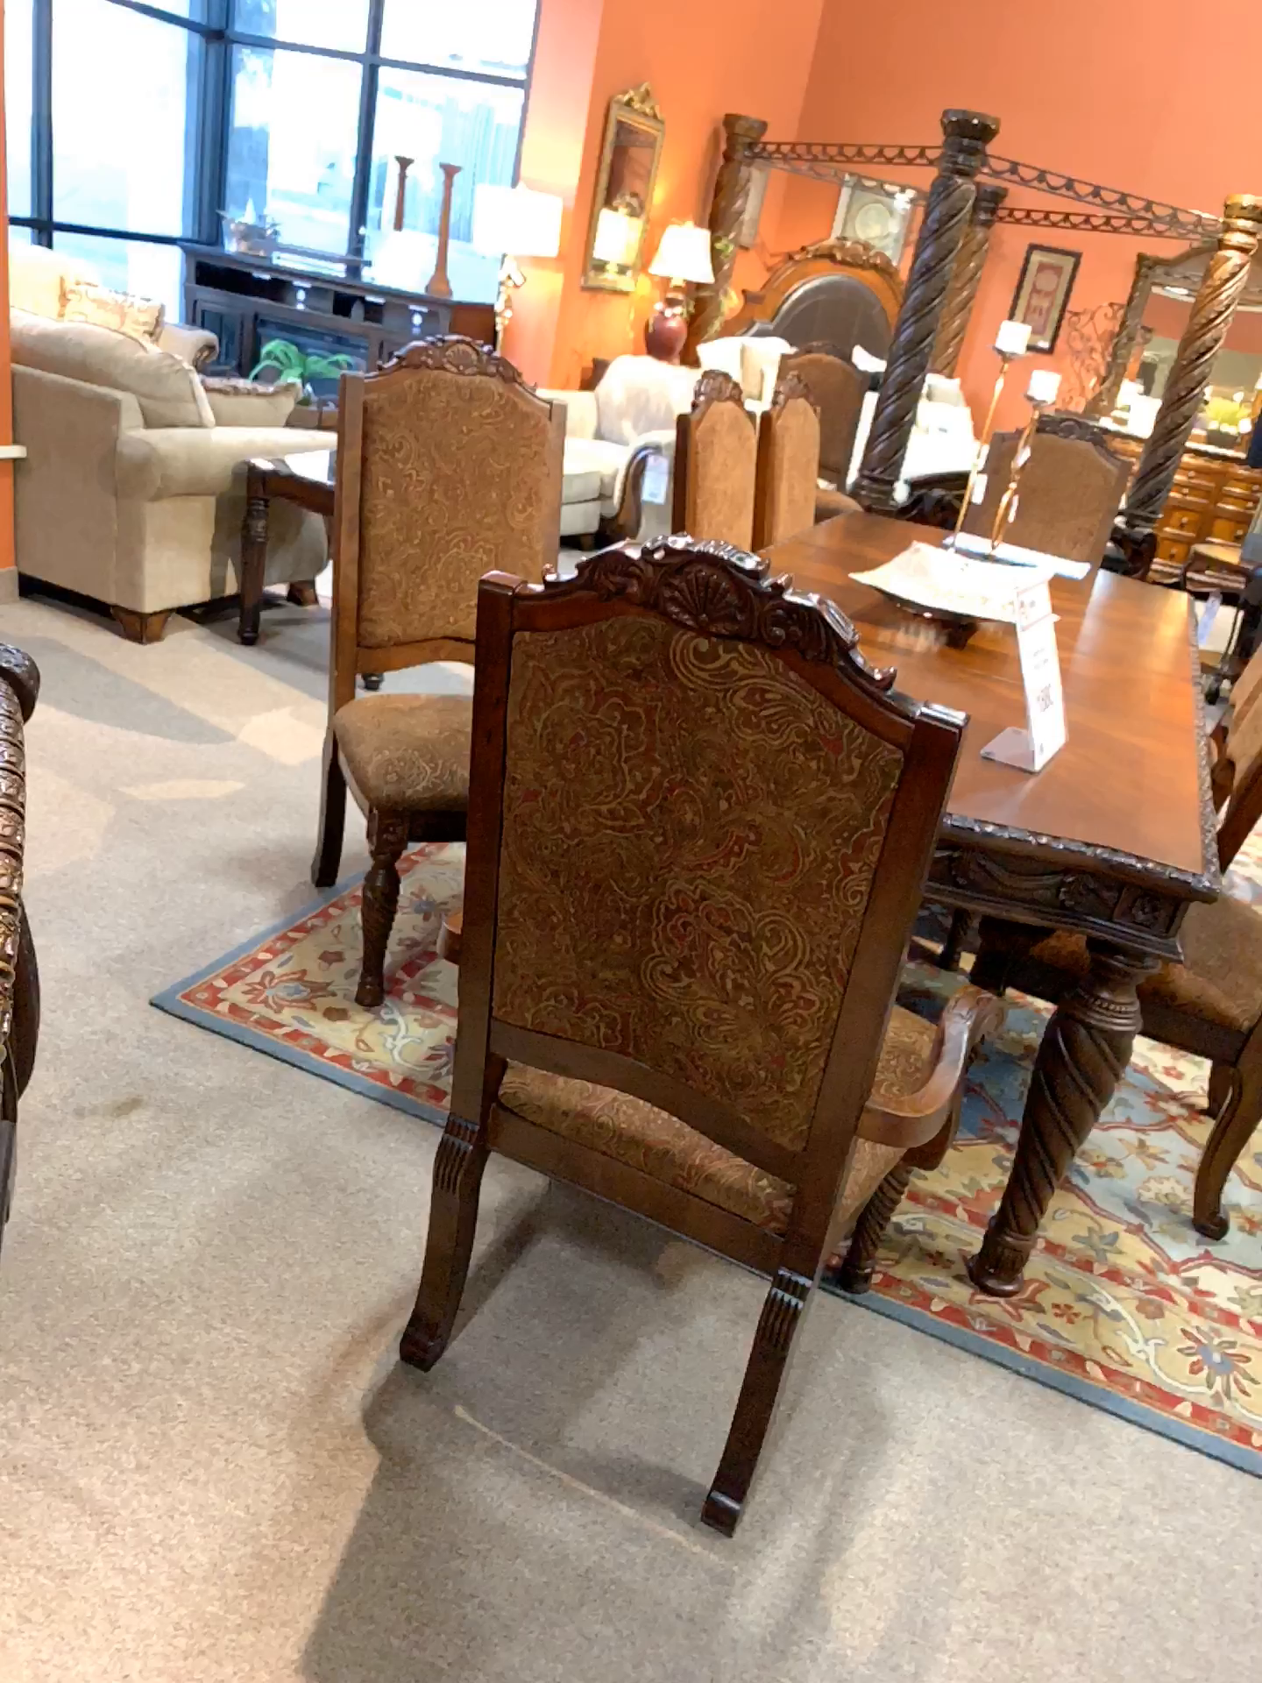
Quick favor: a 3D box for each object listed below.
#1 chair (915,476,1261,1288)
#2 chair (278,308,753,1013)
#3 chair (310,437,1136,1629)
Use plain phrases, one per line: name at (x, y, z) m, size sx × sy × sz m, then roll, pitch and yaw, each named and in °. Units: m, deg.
chair at (1.005, 0.032, 2.222) m, size 0.620 × 1.134 × 0.565 m, roll 20°, pitch 25°, yaw 19°
chair at (-0.301, -0.362, 2.608) m, size 0.603 × 1.183 × 0.672 m, roll -1°, pitch 26°, yaw -26°
chair at (0.104, 0.159, 1.571) m, size 0.584 × 1.124 × 0.672 m, roll 20°, pitch 25°, yaw 18°
